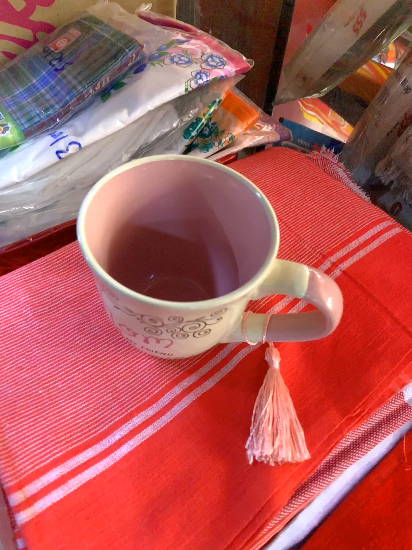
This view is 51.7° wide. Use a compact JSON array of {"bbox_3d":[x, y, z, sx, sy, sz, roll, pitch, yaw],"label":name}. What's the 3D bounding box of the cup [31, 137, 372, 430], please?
[{"bbox_3d":[0.004,0.003,0.221,0.130,0.080,0.094,15,54,8],"label":"cup"}]
